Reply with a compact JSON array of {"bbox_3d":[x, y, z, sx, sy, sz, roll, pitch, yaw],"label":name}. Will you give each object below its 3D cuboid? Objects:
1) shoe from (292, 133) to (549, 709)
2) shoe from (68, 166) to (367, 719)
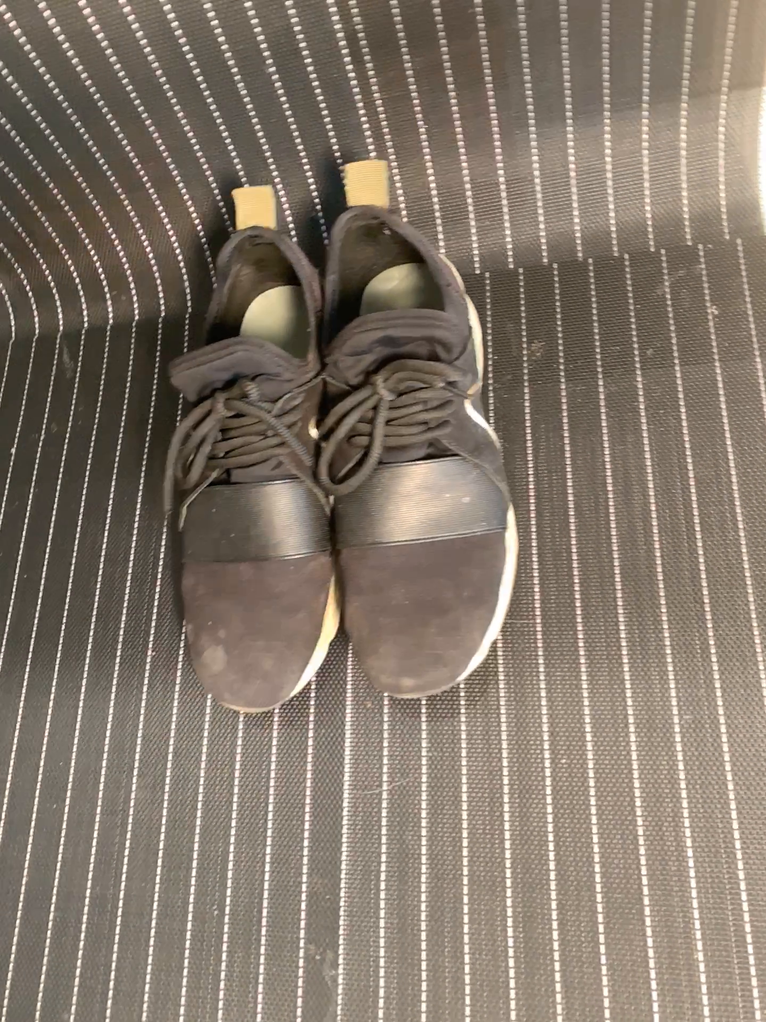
[{"bbox_3d":[0.016,-0.047,0.415,0.100,0.090,0.280,-8,68,12],"label":"shoe"},{"bbox_3d":[-0.076,-0.038,0.422,0.100,0.080,0.280,-2,70,15],"label":"shoe"}]
